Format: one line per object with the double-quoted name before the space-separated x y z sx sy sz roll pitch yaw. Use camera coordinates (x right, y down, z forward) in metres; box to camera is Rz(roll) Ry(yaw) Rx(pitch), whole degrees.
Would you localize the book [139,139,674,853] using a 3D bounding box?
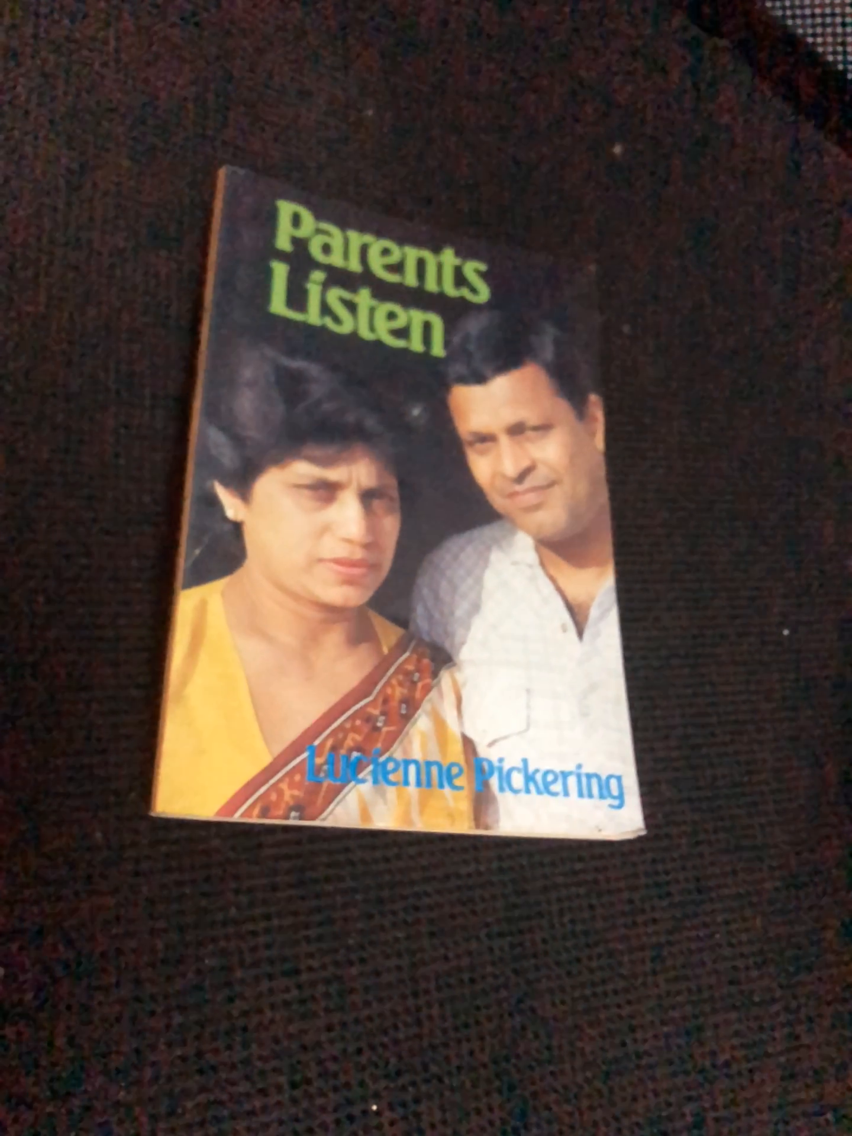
"book" 0.000 -0.024 0.262 0.130 0.010 0.191 9 65 -20
